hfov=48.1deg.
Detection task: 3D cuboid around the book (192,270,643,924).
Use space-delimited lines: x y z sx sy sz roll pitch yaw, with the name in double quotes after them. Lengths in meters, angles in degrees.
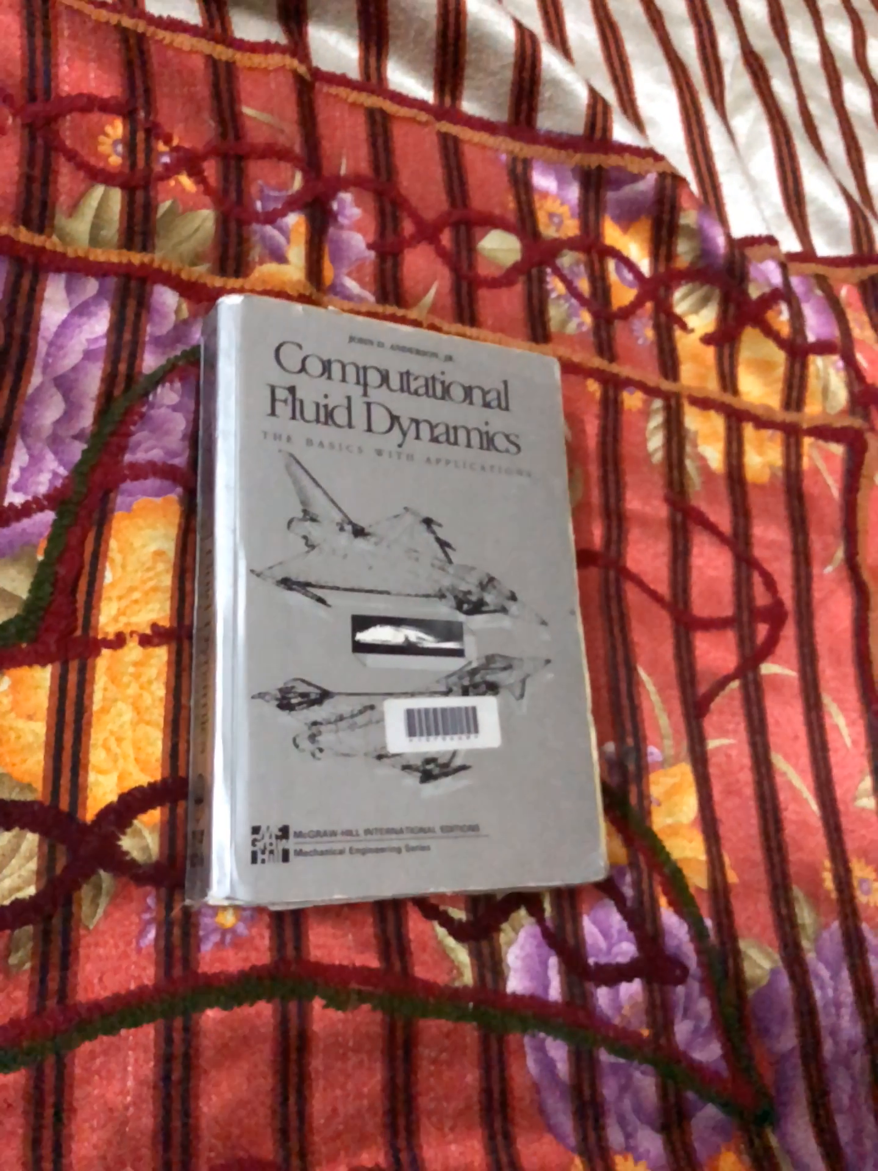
-0.012 0.004 0.385 0.159 0.046 0.229 3 74 -24 "book"
